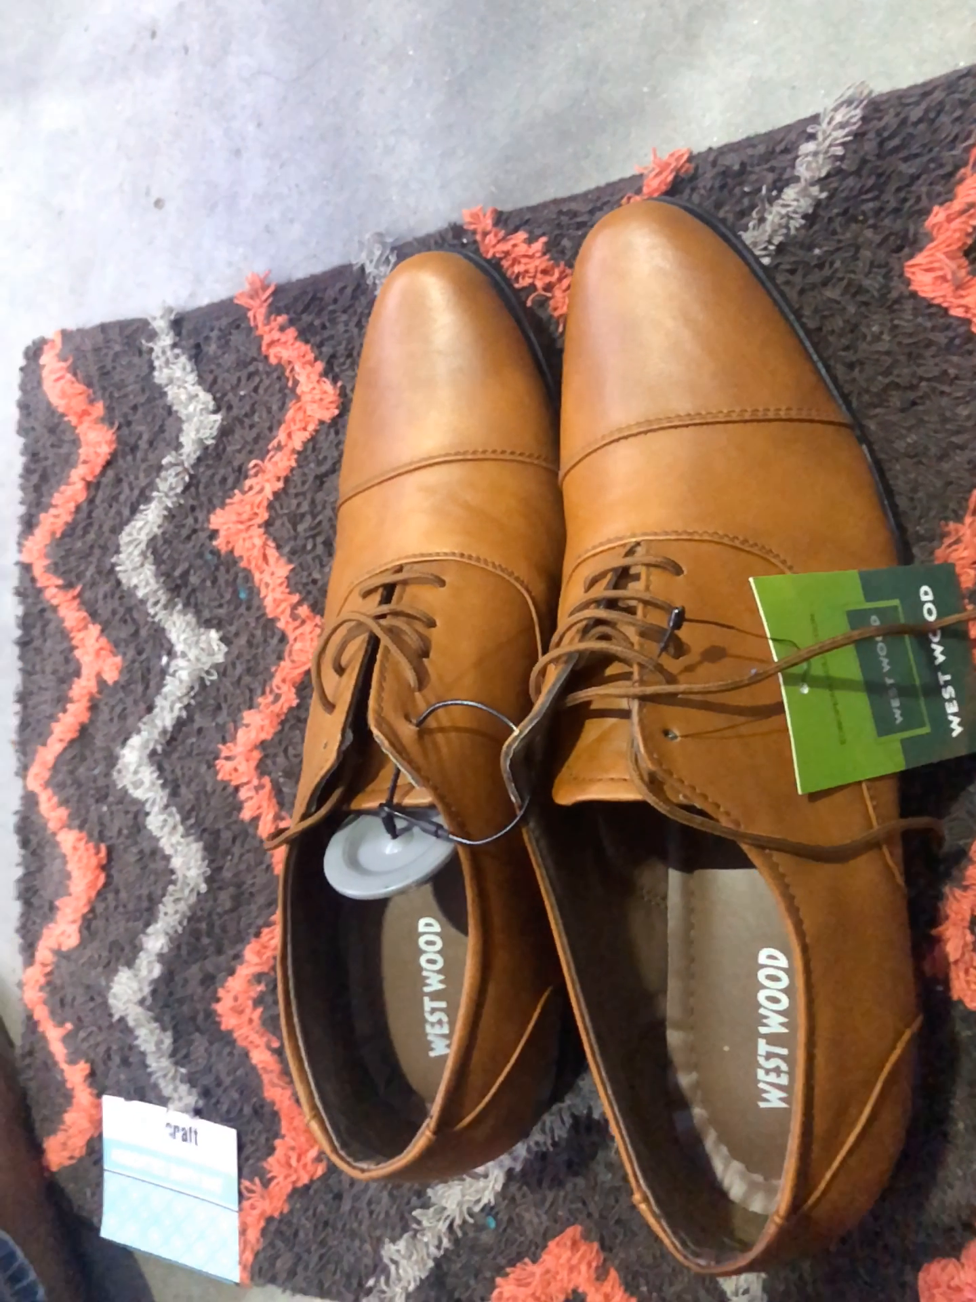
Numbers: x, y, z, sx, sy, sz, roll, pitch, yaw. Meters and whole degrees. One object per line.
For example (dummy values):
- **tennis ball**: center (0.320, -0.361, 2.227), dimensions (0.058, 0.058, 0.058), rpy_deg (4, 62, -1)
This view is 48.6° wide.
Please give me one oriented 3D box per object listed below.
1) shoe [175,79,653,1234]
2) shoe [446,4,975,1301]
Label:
- **shoe**: center (-0.027, 0.001, 0.345), dimensions (0.110, 0.070, 0.310), rpy_deg (-8, 83, 29)
- **shoe**: center (0.067, 0.002, 0.306), dimensions (0.110, 0.080, 0.300), rpy_deg (-8, 83, 29)
